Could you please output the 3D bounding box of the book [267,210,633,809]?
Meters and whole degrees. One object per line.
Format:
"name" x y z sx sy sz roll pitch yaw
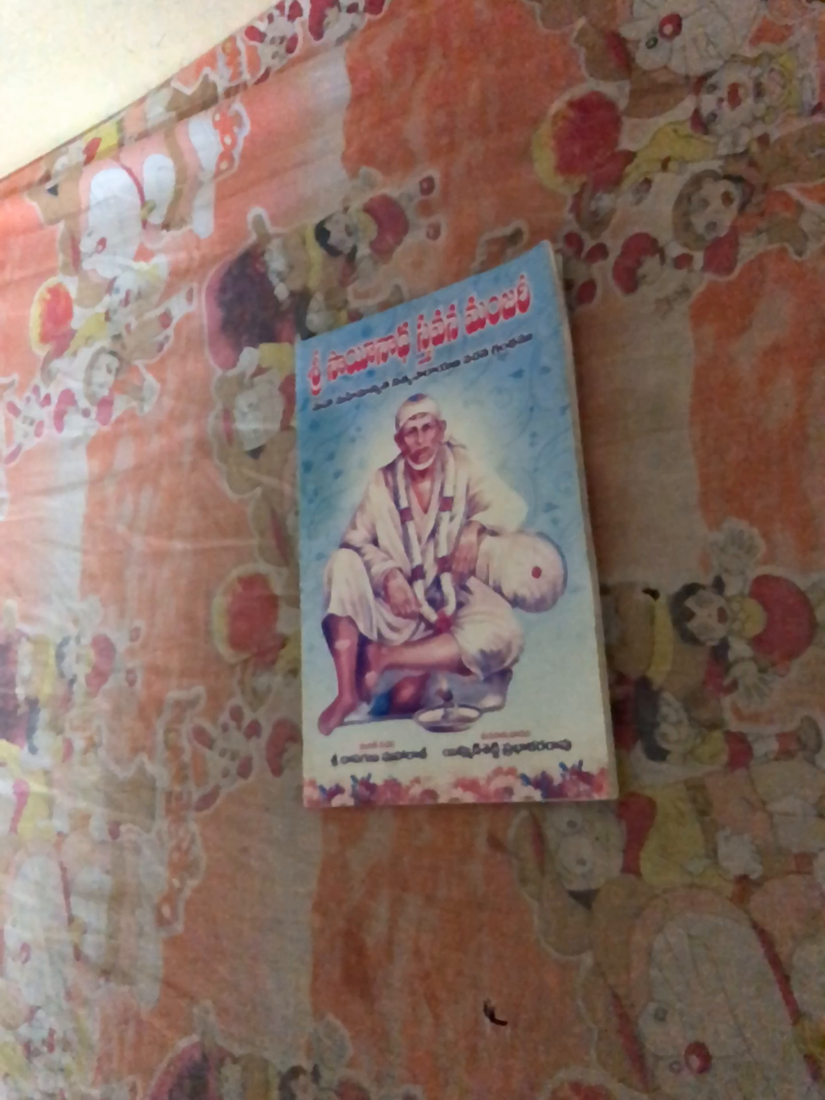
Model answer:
"book" 0.006 -0.011 0.375 0.140 0.020 0.220 -10 77 29
